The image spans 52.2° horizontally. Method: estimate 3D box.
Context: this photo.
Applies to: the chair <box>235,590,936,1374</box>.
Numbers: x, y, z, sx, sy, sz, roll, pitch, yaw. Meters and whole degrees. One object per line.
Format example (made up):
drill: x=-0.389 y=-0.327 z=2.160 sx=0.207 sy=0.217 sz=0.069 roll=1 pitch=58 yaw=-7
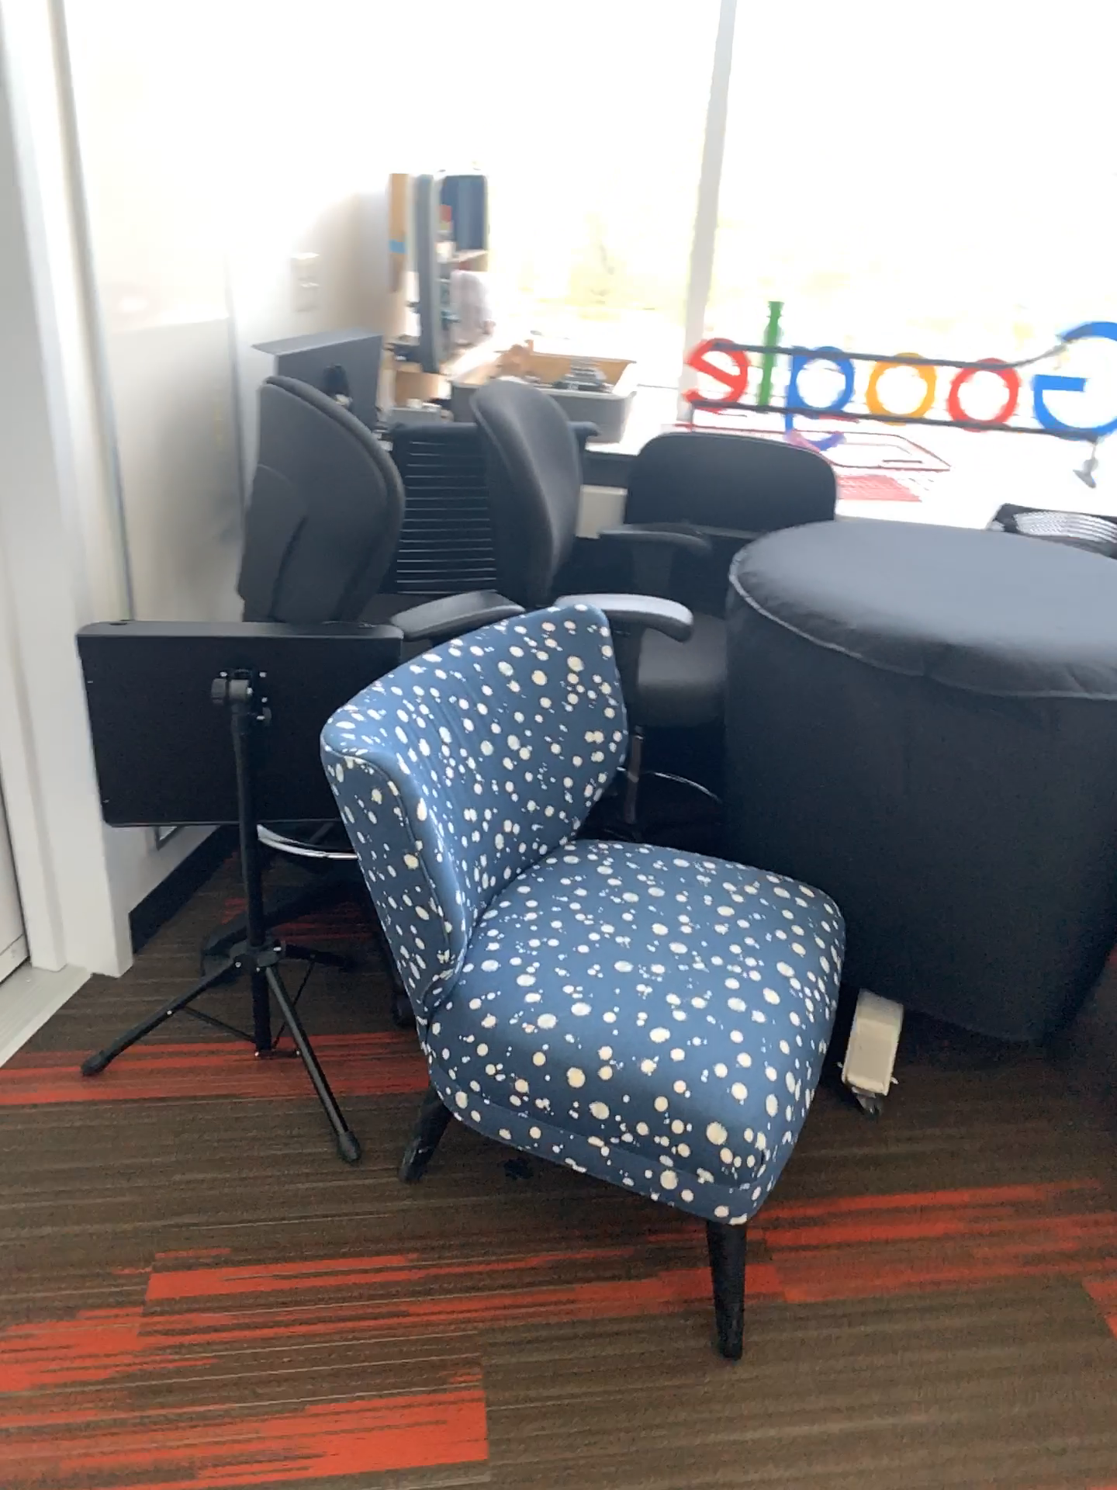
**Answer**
chair: x=0.103 y=0.263 z=1.952 sx=0.771 sy=0.687 sz=1.003 roll=15 pitch=27 yaw=21
